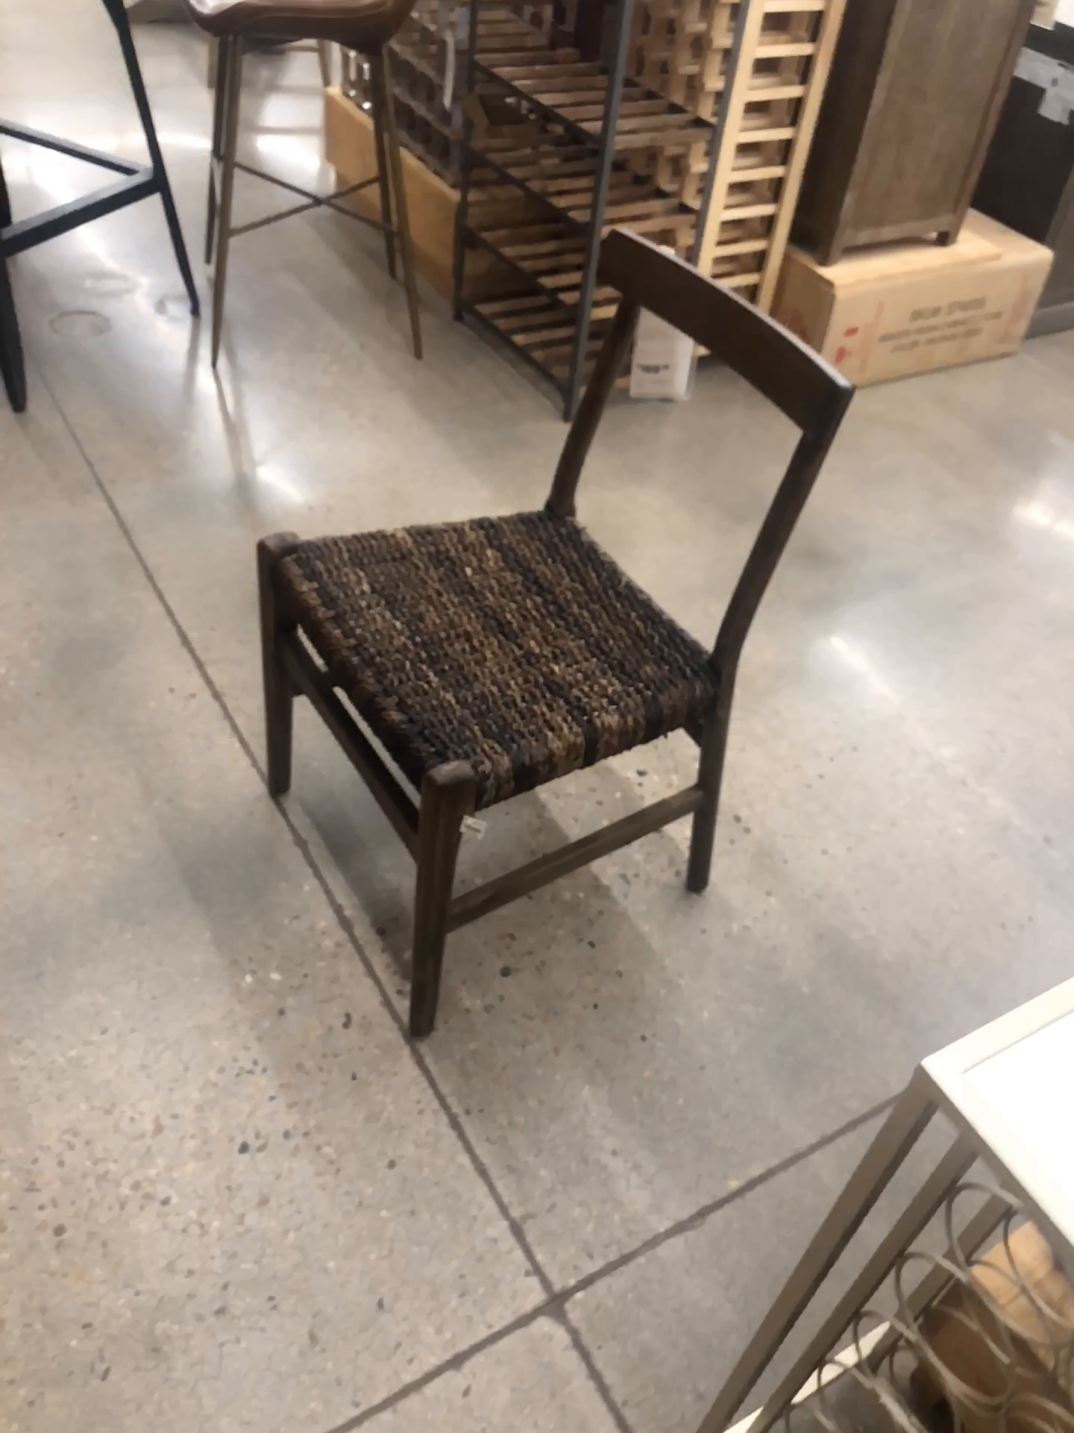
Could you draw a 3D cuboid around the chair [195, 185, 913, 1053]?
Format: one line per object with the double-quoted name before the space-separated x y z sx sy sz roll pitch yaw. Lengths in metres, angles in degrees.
"chair" -0.039 -0.123 1.499 0.533 0.816 0.550 -18 49 -26
